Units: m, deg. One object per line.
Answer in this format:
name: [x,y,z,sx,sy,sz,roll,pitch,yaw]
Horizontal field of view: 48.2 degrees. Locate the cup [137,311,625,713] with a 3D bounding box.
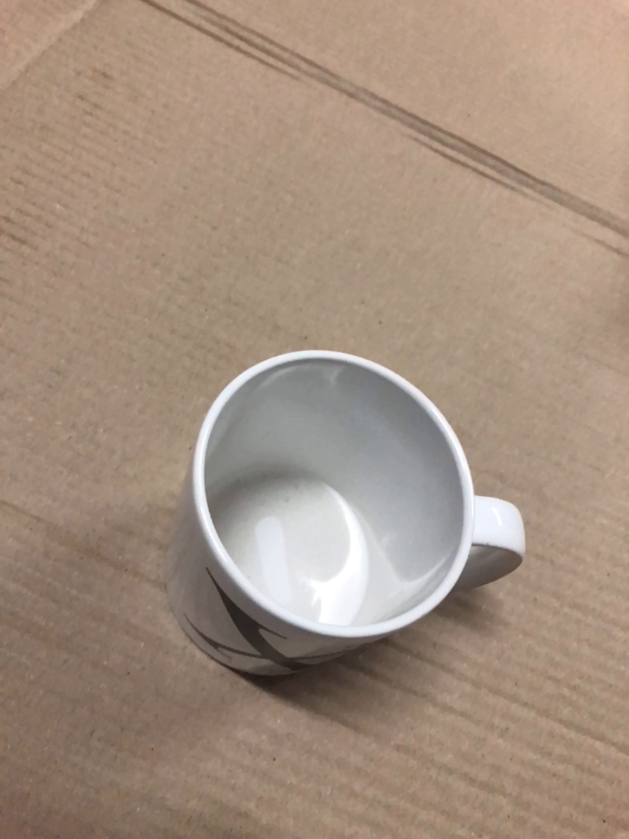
cup: [0.011,0.036,0.215,0.110,0.090,0.080,9,58,-12]
